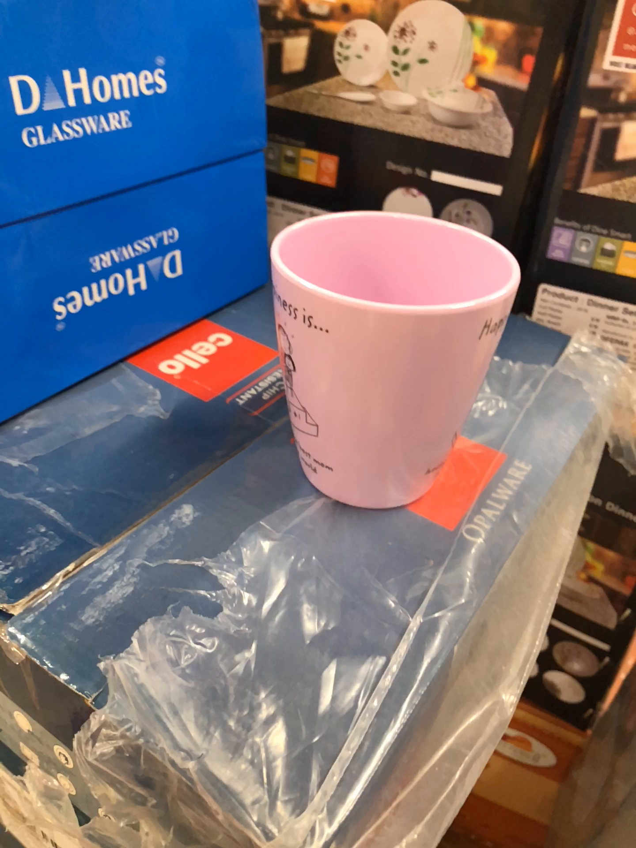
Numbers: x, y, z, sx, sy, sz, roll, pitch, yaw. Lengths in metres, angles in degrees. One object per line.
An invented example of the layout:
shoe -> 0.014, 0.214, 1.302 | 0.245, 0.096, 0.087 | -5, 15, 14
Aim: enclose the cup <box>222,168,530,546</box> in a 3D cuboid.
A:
cup -> 0.025, -0.033, 0.279 | 0.090, 0.089, 0.111 | 13, 36, 8
